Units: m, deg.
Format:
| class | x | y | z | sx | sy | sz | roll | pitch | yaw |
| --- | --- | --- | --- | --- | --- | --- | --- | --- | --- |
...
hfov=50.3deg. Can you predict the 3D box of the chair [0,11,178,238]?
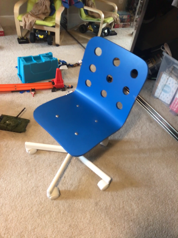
| class | x | y | z | sx | sy | sz | roll | pitch | yaw |
| --- | --- | --- | --- | --- | --- | --- | --- | --- | --- |
| chair | -0.054 | 0.015 | 1.017 | 0.674 | 0.814 | 0.621 | -31 | 60 | -34 |
